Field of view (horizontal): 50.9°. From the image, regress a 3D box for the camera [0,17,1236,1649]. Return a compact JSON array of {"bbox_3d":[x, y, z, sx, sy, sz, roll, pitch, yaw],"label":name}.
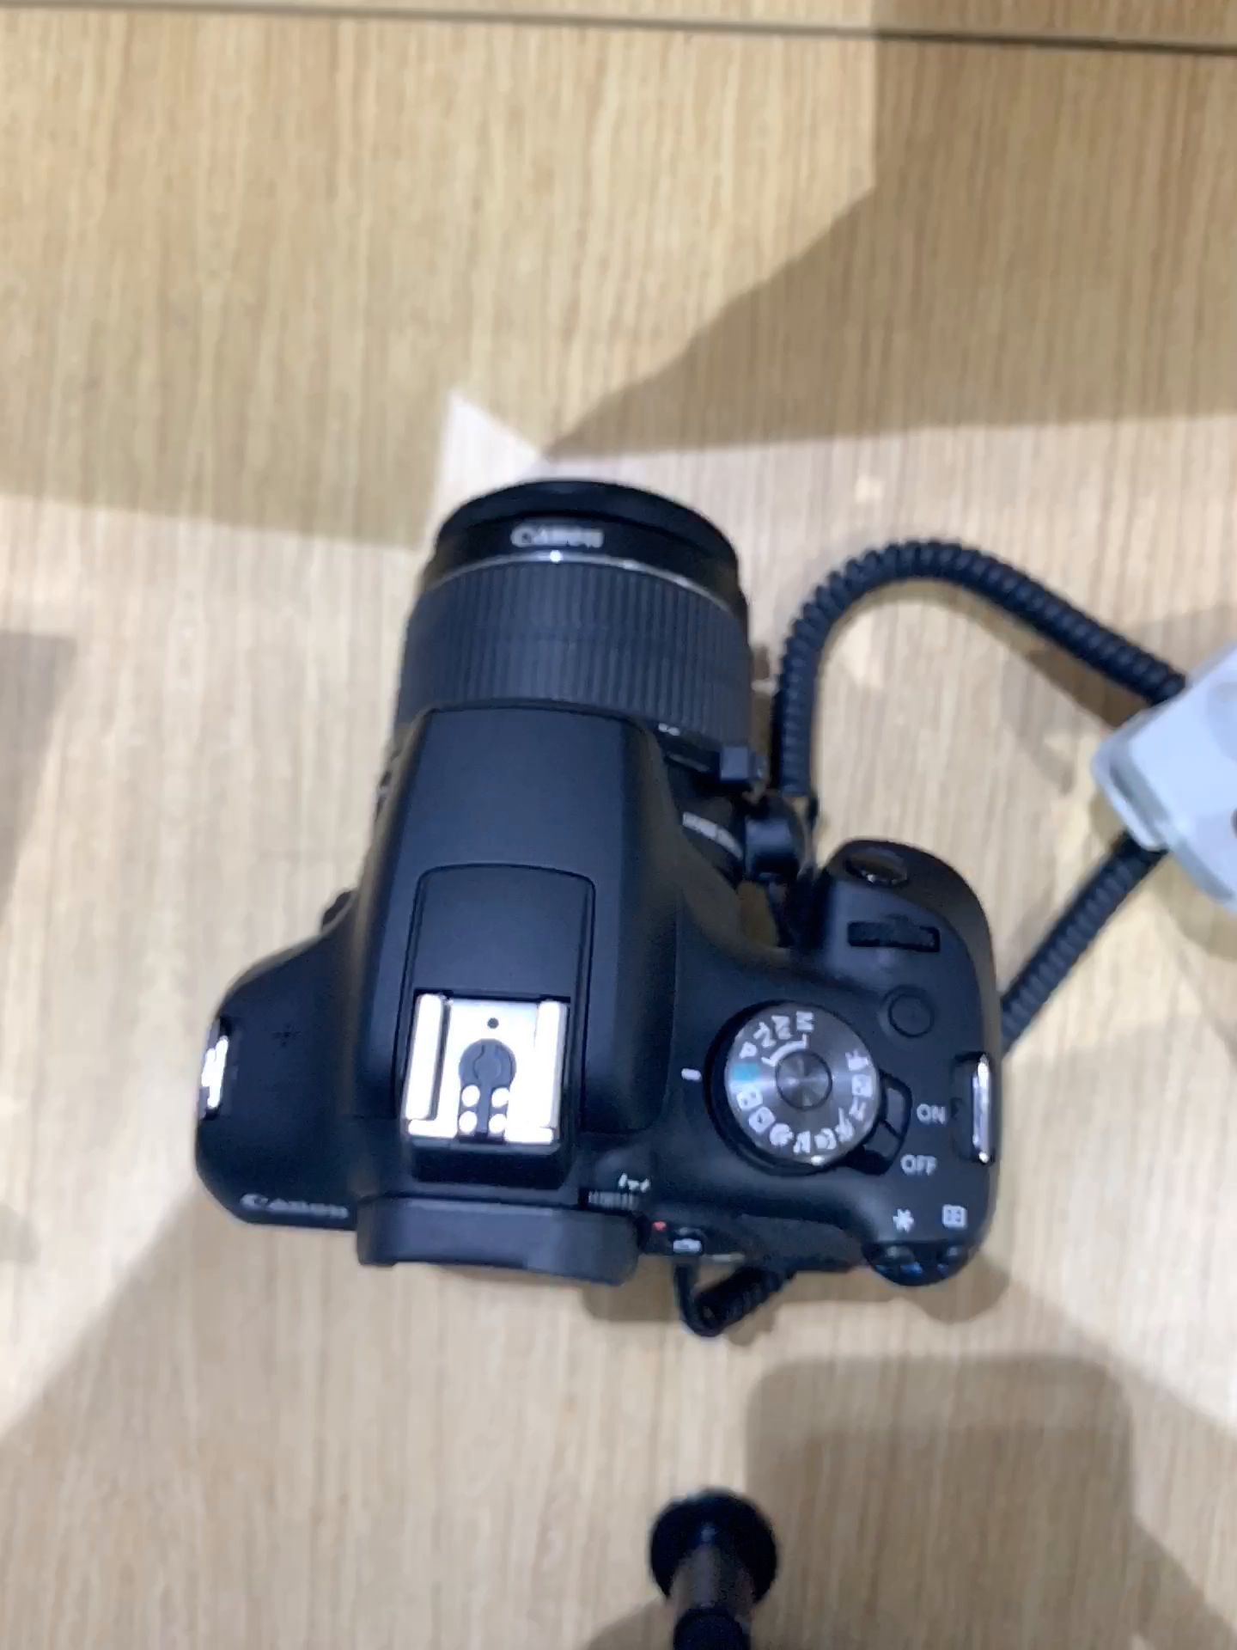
[{"bbox_3d":[-0.002,0.000,0.188,0.140,0.110,0.160,5,93,4],"label":"camera"}]
